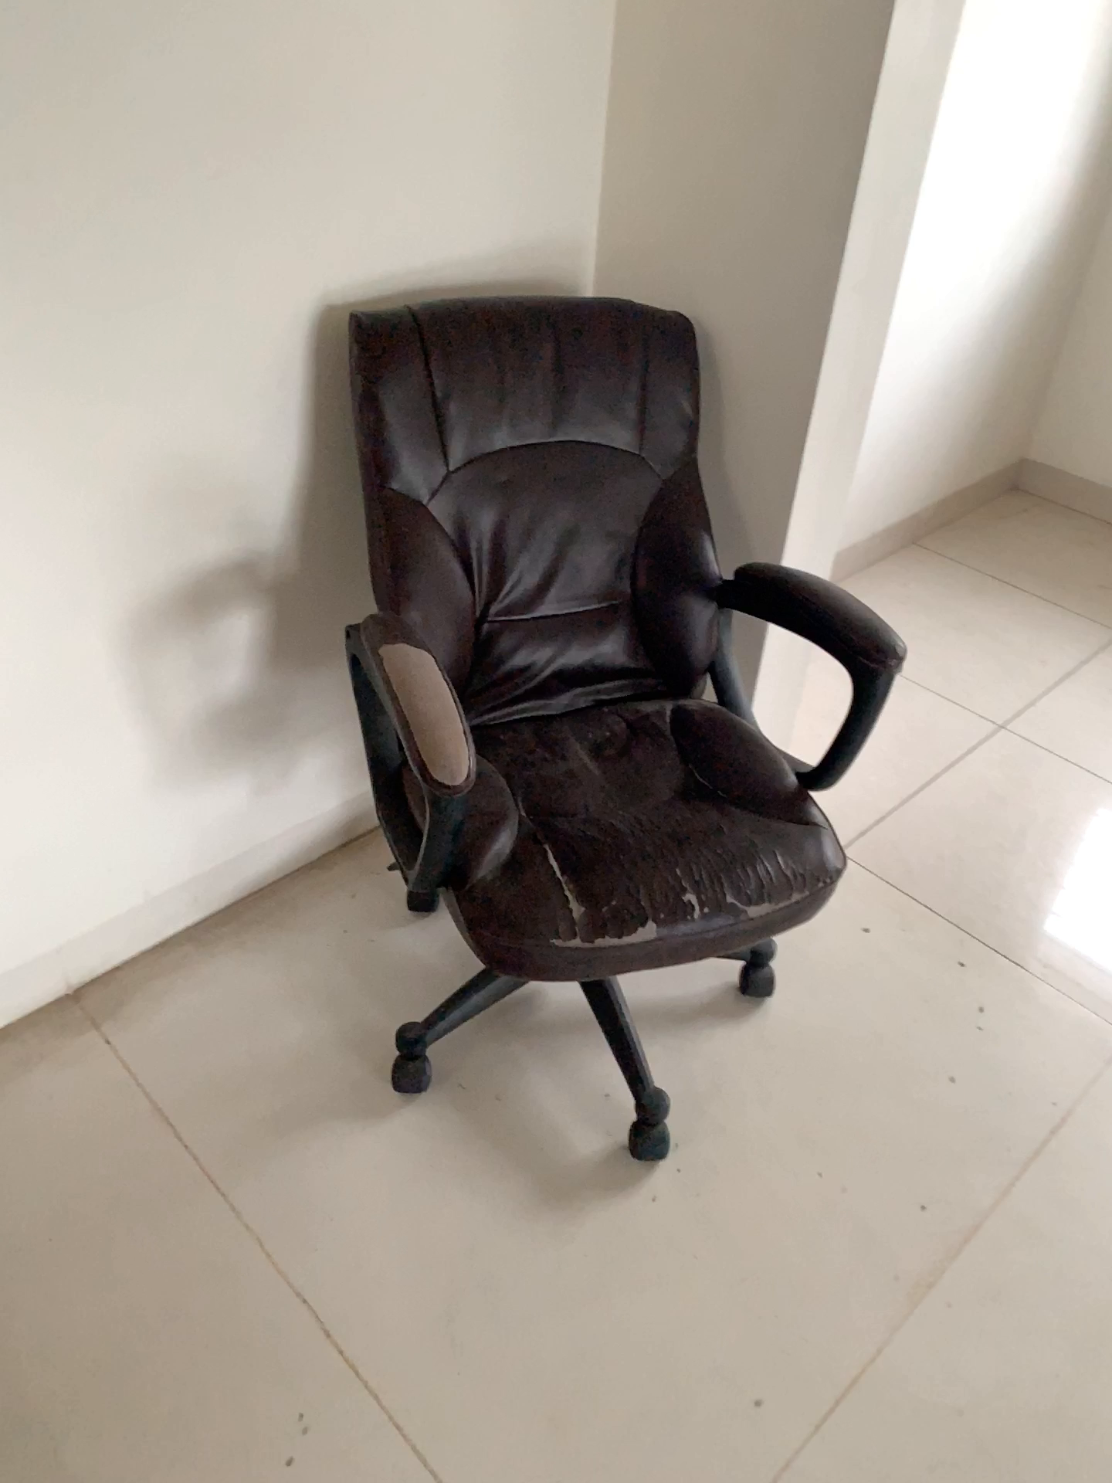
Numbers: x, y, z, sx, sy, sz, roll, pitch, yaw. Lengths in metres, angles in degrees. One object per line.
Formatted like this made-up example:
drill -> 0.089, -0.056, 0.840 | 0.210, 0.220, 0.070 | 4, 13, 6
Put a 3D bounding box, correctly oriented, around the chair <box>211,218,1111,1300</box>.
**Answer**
chair -> 0.033, -0.026, 1.438 | 0.700, 0.996, 0.793 | -10, 39, -18
